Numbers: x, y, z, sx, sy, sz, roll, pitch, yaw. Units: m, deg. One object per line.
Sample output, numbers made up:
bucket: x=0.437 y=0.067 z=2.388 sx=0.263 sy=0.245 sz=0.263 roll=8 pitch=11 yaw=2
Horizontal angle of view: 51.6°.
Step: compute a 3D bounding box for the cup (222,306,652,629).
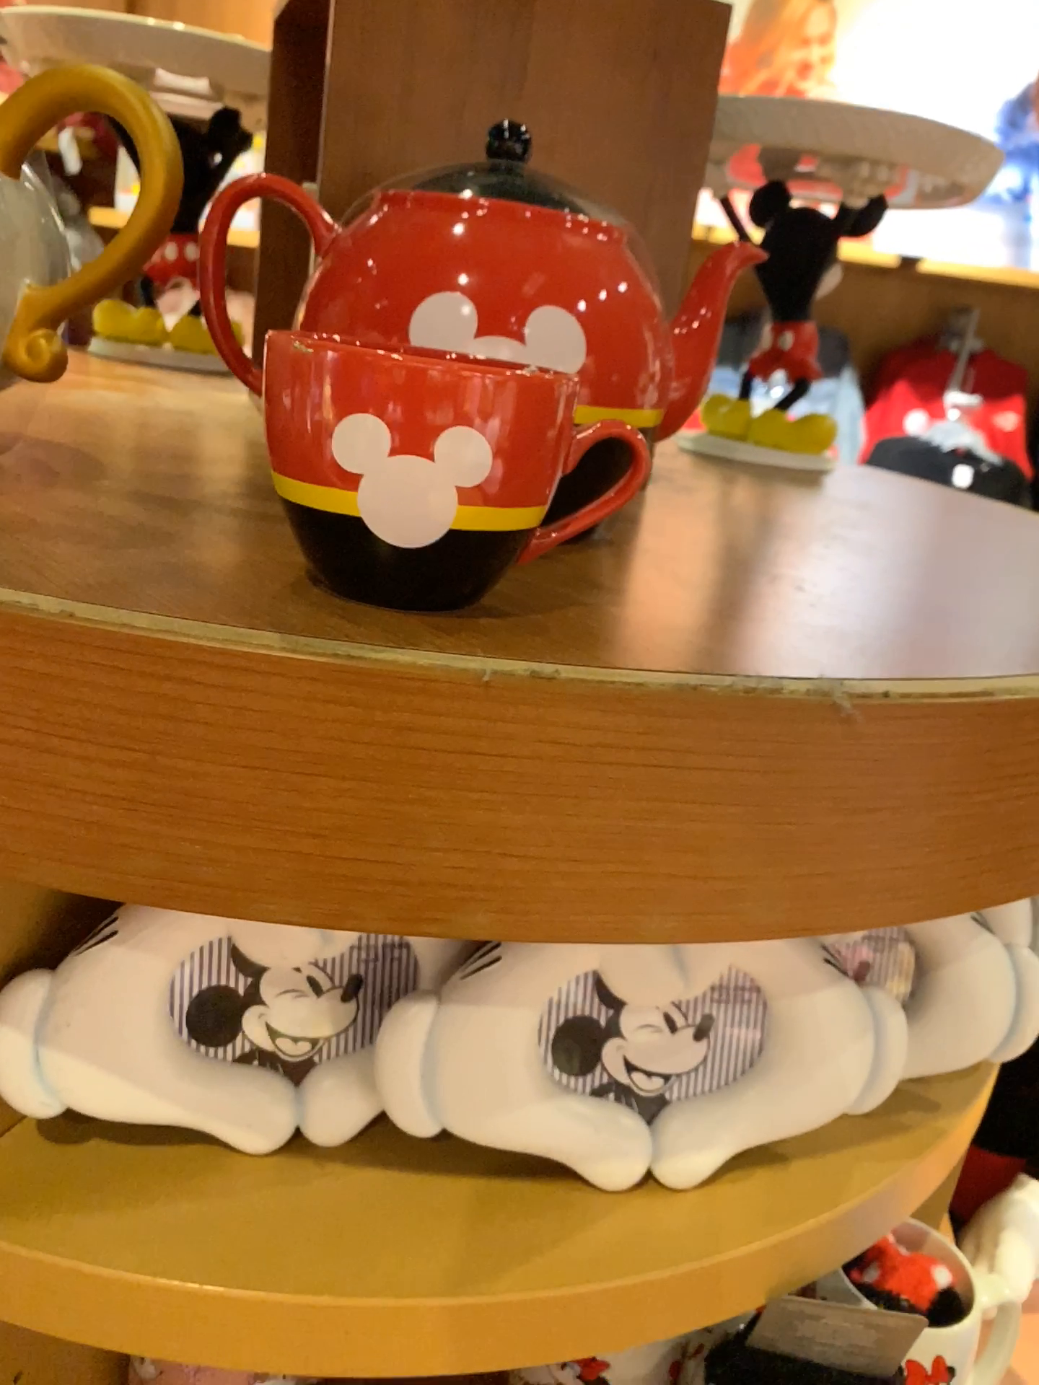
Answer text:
cup: x=-0.021 y=-0.067 z=0.303 sx=0.100 sy=0.065 sz=0.078 roll=8 pitch=19 yaw=-1
